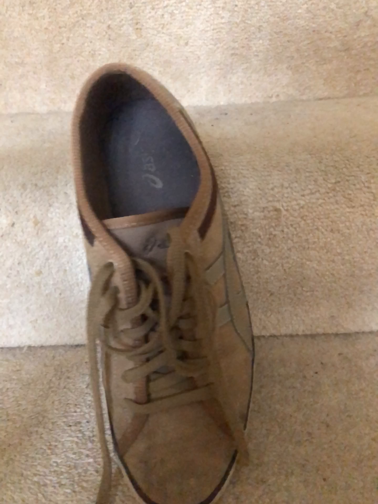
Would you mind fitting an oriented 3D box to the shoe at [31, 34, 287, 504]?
[{"bbox_3d":[-0.021,0.034,0.279,0.110,0.301,0.120,-7,-13,5],"label":"shoe"}]
